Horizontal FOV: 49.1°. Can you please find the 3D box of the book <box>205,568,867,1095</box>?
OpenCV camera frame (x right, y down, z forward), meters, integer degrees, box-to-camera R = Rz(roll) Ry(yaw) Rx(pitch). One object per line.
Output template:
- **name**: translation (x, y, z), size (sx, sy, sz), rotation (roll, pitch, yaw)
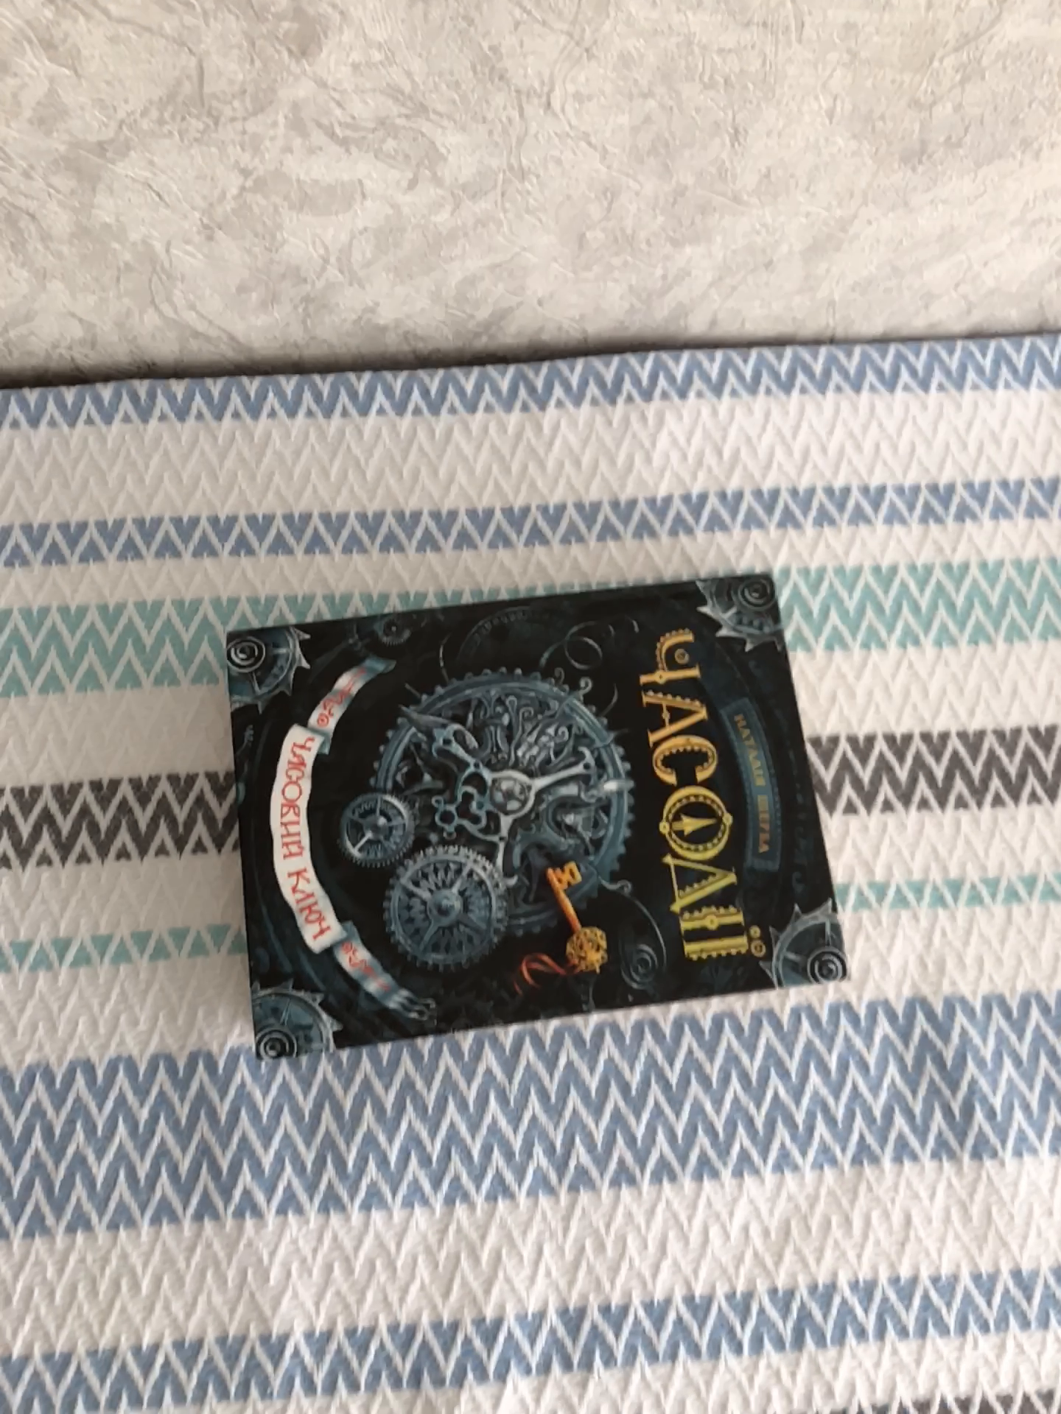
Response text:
- **book**: translation (-0.002, 0.046, 0.471), size (0.238, 0.032, 0.178), rotation (-7, 76, -4)
